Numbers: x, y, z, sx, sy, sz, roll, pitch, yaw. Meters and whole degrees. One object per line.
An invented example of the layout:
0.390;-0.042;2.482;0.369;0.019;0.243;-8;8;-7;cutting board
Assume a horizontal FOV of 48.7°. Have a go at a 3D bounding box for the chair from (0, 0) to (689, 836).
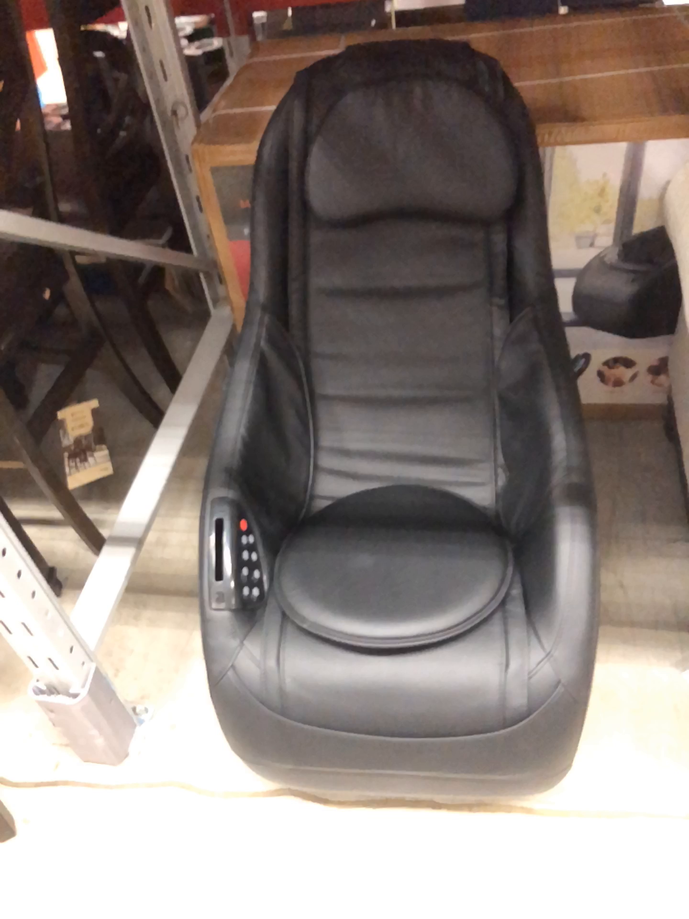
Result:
0.041;-0.026;1.039;0.650;0.848;0.701;-2;45;8;chair
